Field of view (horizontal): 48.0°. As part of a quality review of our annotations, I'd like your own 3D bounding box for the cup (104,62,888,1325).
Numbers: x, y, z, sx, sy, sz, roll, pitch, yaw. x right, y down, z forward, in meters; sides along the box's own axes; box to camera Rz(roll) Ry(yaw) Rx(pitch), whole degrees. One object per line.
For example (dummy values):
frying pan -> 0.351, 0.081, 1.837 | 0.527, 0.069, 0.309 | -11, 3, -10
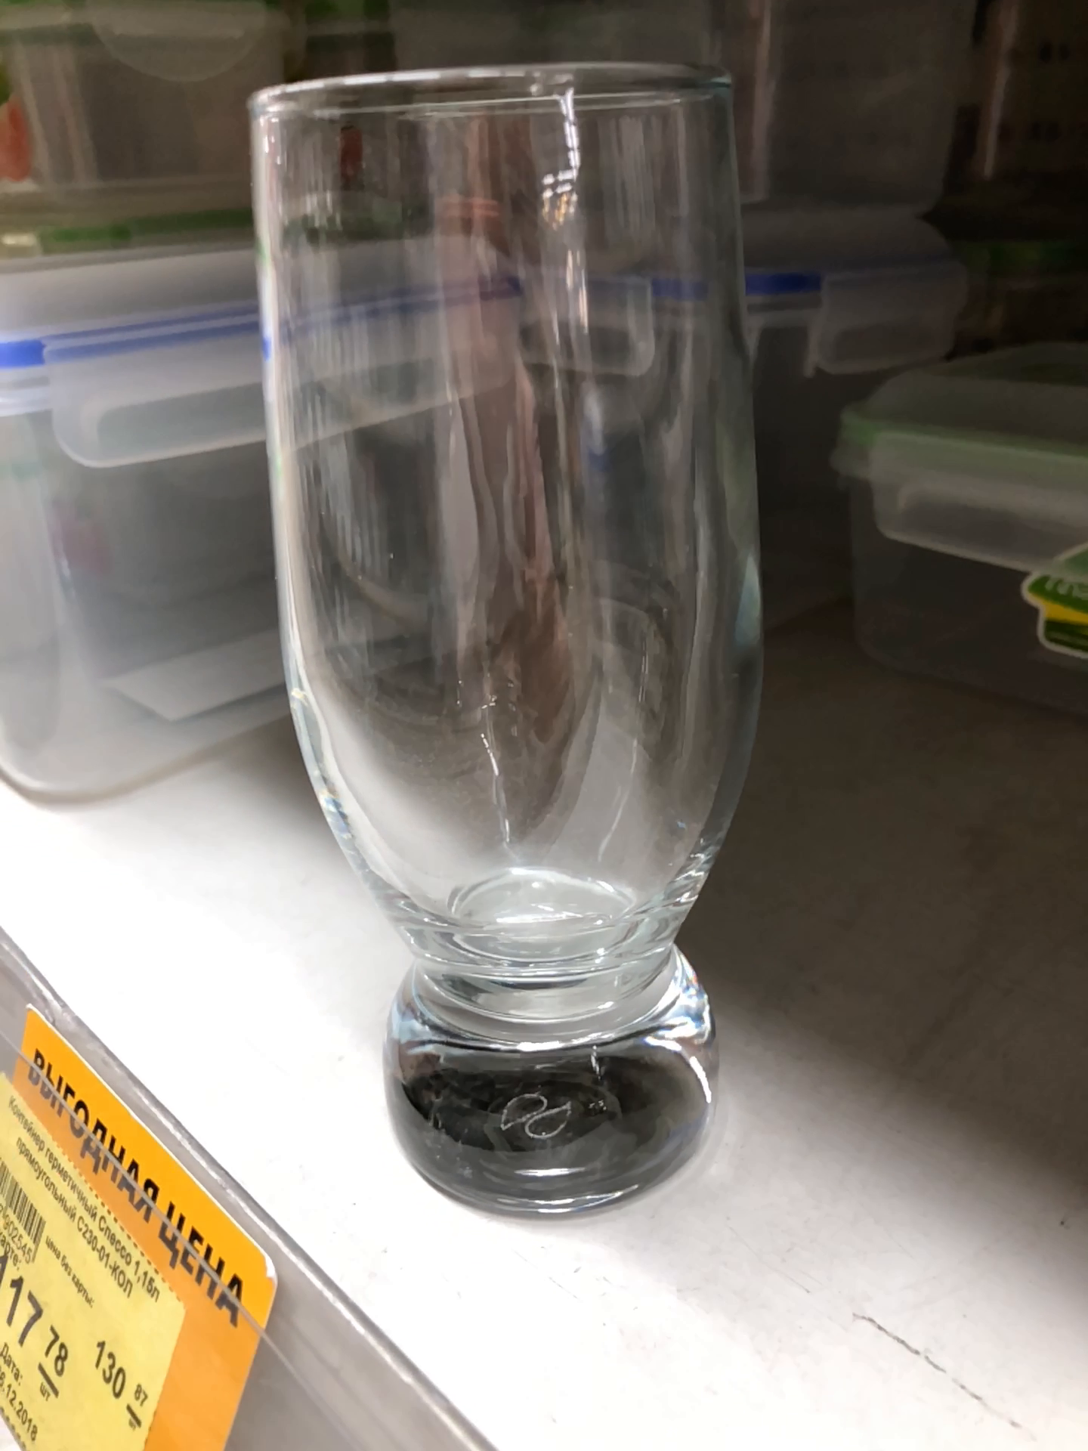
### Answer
cup -> -0.003, -0.007, 0.170 | 0.069, 0.146, 0.057 | -20, 30, -32
